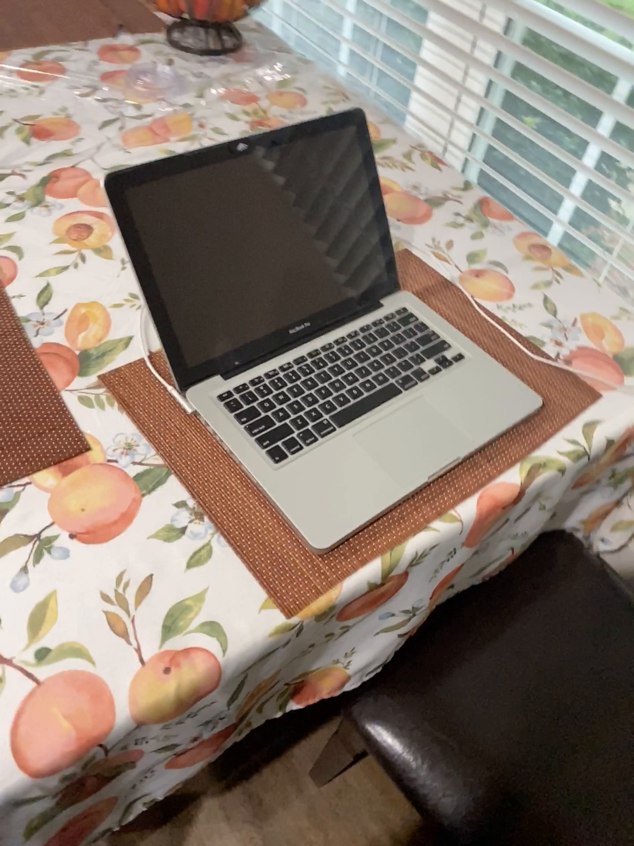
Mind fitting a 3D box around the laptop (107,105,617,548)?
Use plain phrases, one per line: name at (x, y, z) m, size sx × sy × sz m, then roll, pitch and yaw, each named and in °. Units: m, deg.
laptop at (0.030, -0.127, 0.647) m, size 0.318 × 0.162 × 0.349 m, roll -29°, pitch 60°, yaw -27°
